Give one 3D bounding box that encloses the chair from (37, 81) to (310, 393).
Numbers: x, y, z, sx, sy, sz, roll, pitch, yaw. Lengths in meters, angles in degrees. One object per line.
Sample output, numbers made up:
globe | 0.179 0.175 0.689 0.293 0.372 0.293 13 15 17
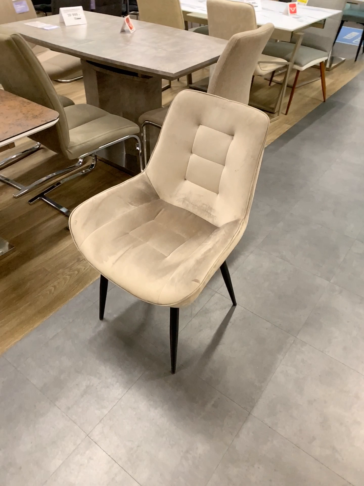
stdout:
chair | -0.019 -0.043 1.393 0.567 0.817 0.612 29 47 28
